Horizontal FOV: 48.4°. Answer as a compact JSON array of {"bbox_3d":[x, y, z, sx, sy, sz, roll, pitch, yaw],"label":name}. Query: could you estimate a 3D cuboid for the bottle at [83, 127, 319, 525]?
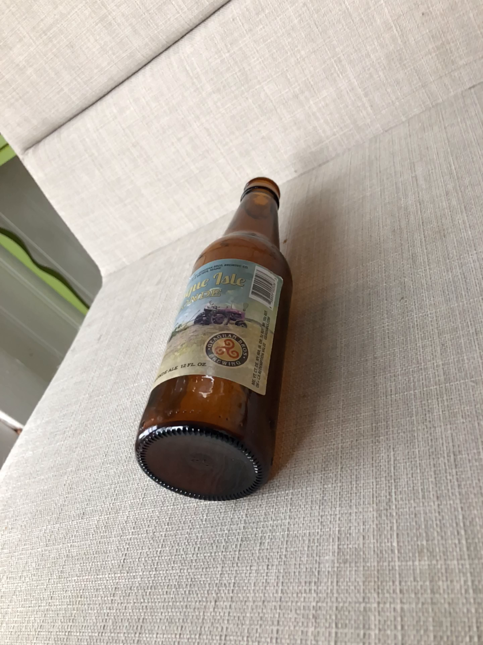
[{"bbox_3d":[-0.007,-0.017,0.303,0.065,0.060,0.232,-34,30,36],"label":"bottle"}]
